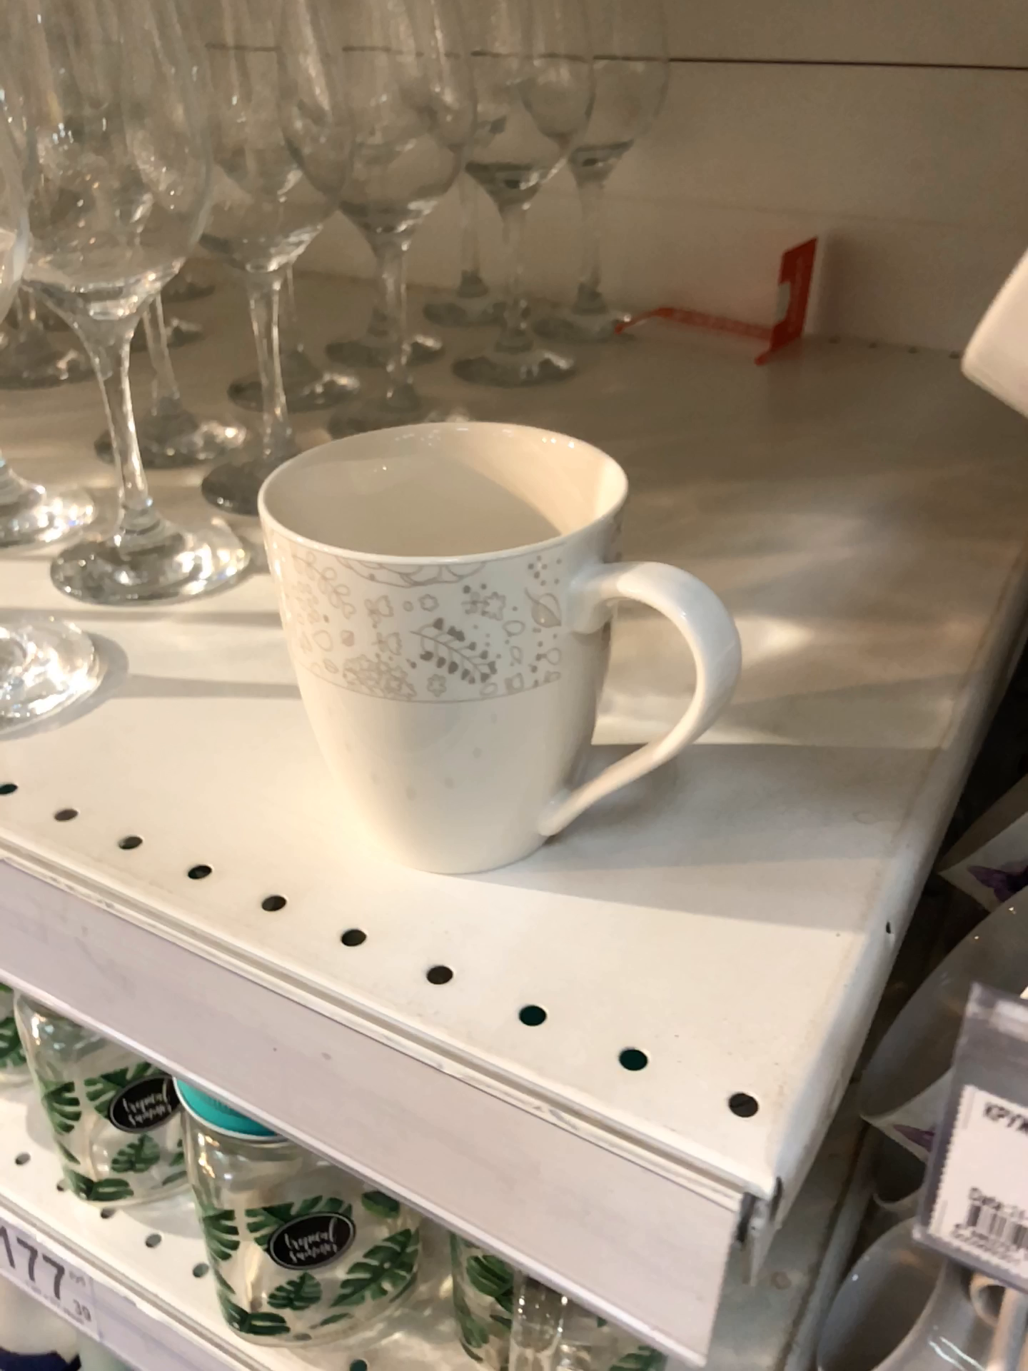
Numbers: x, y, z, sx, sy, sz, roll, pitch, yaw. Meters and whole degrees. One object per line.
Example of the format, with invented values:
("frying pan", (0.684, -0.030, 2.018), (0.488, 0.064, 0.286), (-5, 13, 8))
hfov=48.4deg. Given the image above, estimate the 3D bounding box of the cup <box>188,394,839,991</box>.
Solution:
("cup", (0.001, -0.008, 0.294), (0.126, 0.091, 0.090), (19, 37, 28))
